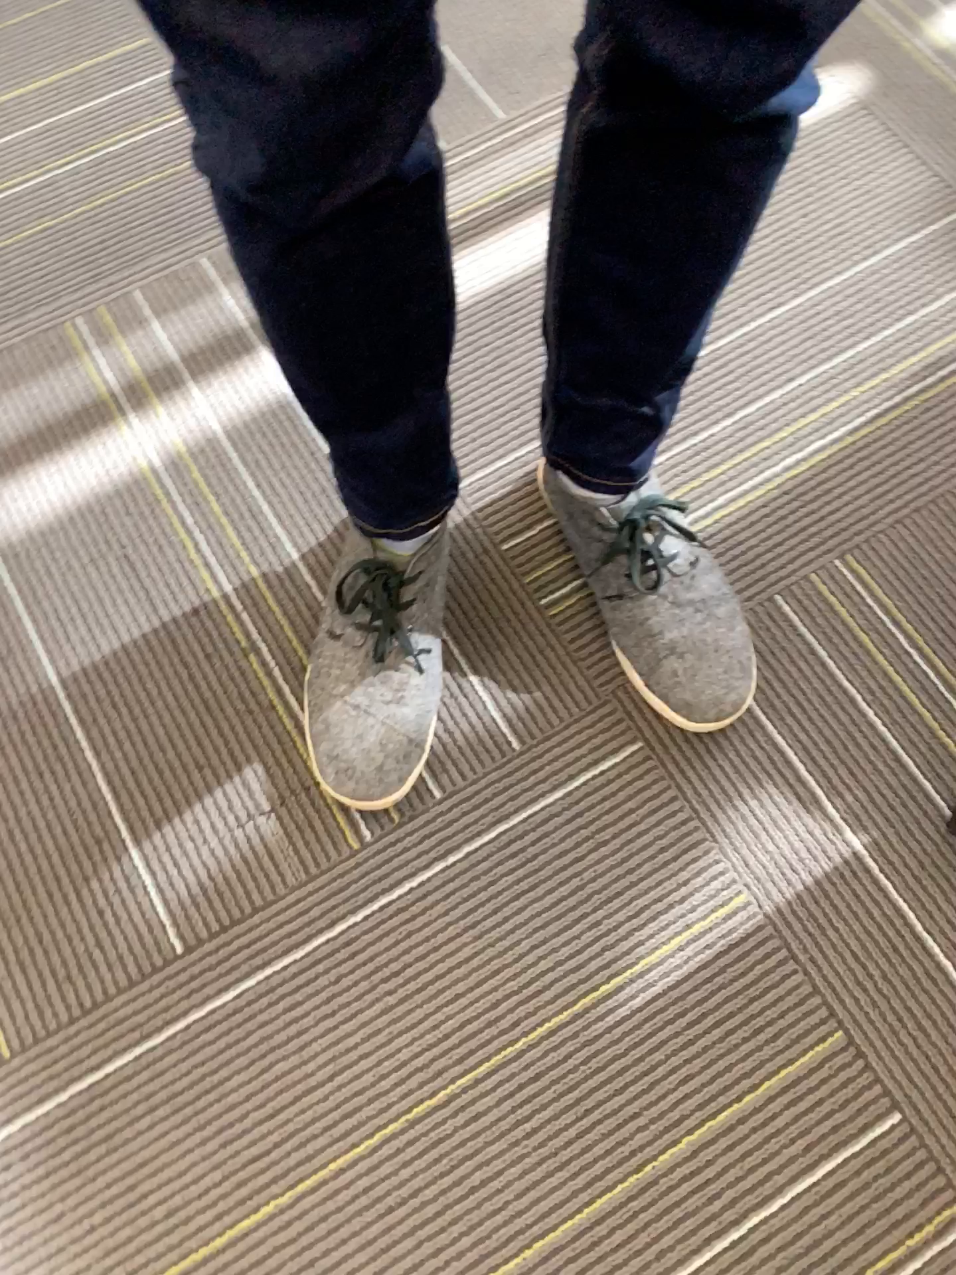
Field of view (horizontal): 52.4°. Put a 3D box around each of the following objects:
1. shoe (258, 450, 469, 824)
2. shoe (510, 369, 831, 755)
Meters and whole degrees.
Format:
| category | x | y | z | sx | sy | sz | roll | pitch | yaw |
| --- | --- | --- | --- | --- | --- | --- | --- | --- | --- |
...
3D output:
| category | x | y | z | sx | sy | sz | roll | pitch | yaw |
| --- | --- | --- | --- | --- | --- | --- | --- | --- | --- |
| shoe | -0.086 | -0.005 | 0.821 | 0.134 | 0.087 | 0.299 | 3 | 66 | 3 |
| shoe | 0.153 | -0.070 | 0.840 | 0.134 | 0.087 | 0.301 | -23 | 69 | -8 |
